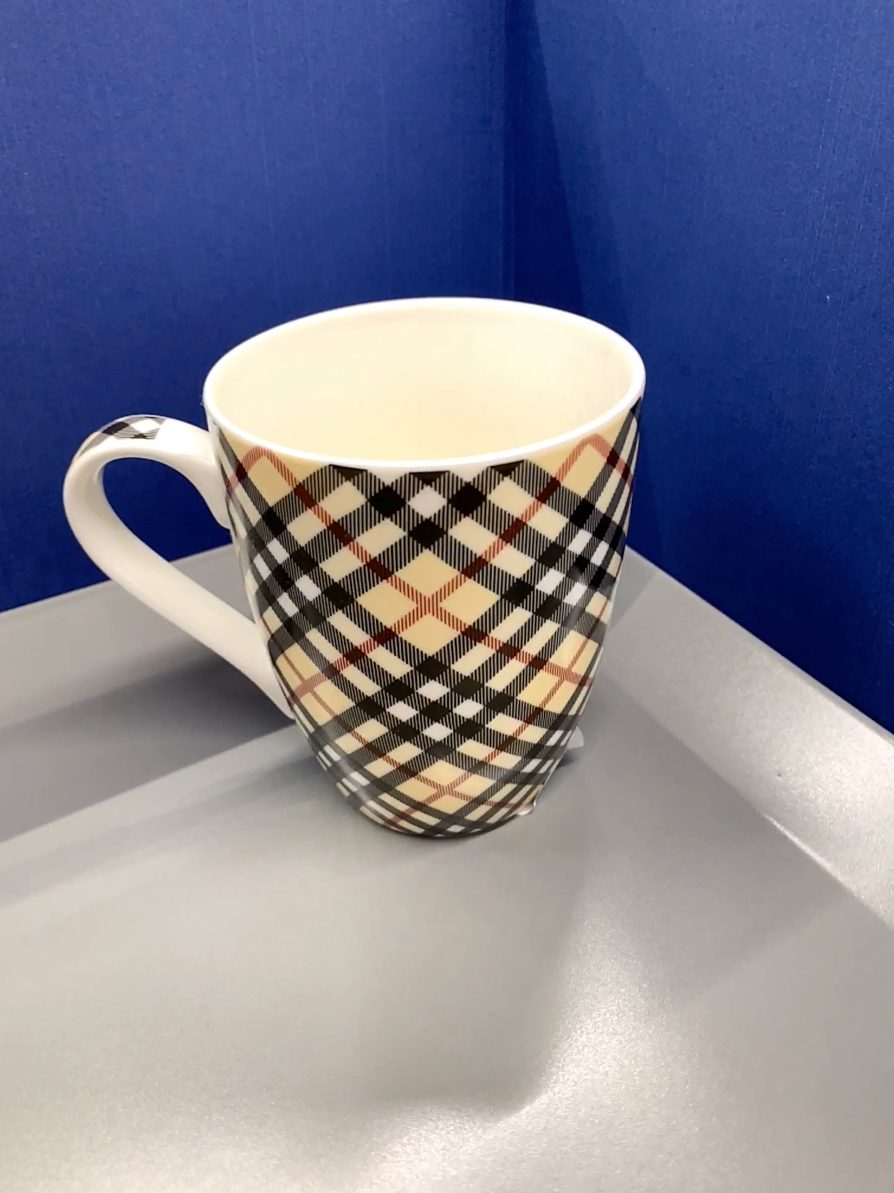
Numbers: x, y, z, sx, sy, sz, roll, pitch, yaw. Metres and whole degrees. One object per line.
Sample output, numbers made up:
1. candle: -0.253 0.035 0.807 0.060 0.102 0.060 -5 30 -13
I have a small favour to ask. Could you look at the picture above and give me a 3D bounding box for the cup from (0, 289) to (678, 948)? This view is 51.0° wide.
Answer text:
1. cup: -0.020 -0.001 0.206 0.120 0.104 0.091 3 33 7
